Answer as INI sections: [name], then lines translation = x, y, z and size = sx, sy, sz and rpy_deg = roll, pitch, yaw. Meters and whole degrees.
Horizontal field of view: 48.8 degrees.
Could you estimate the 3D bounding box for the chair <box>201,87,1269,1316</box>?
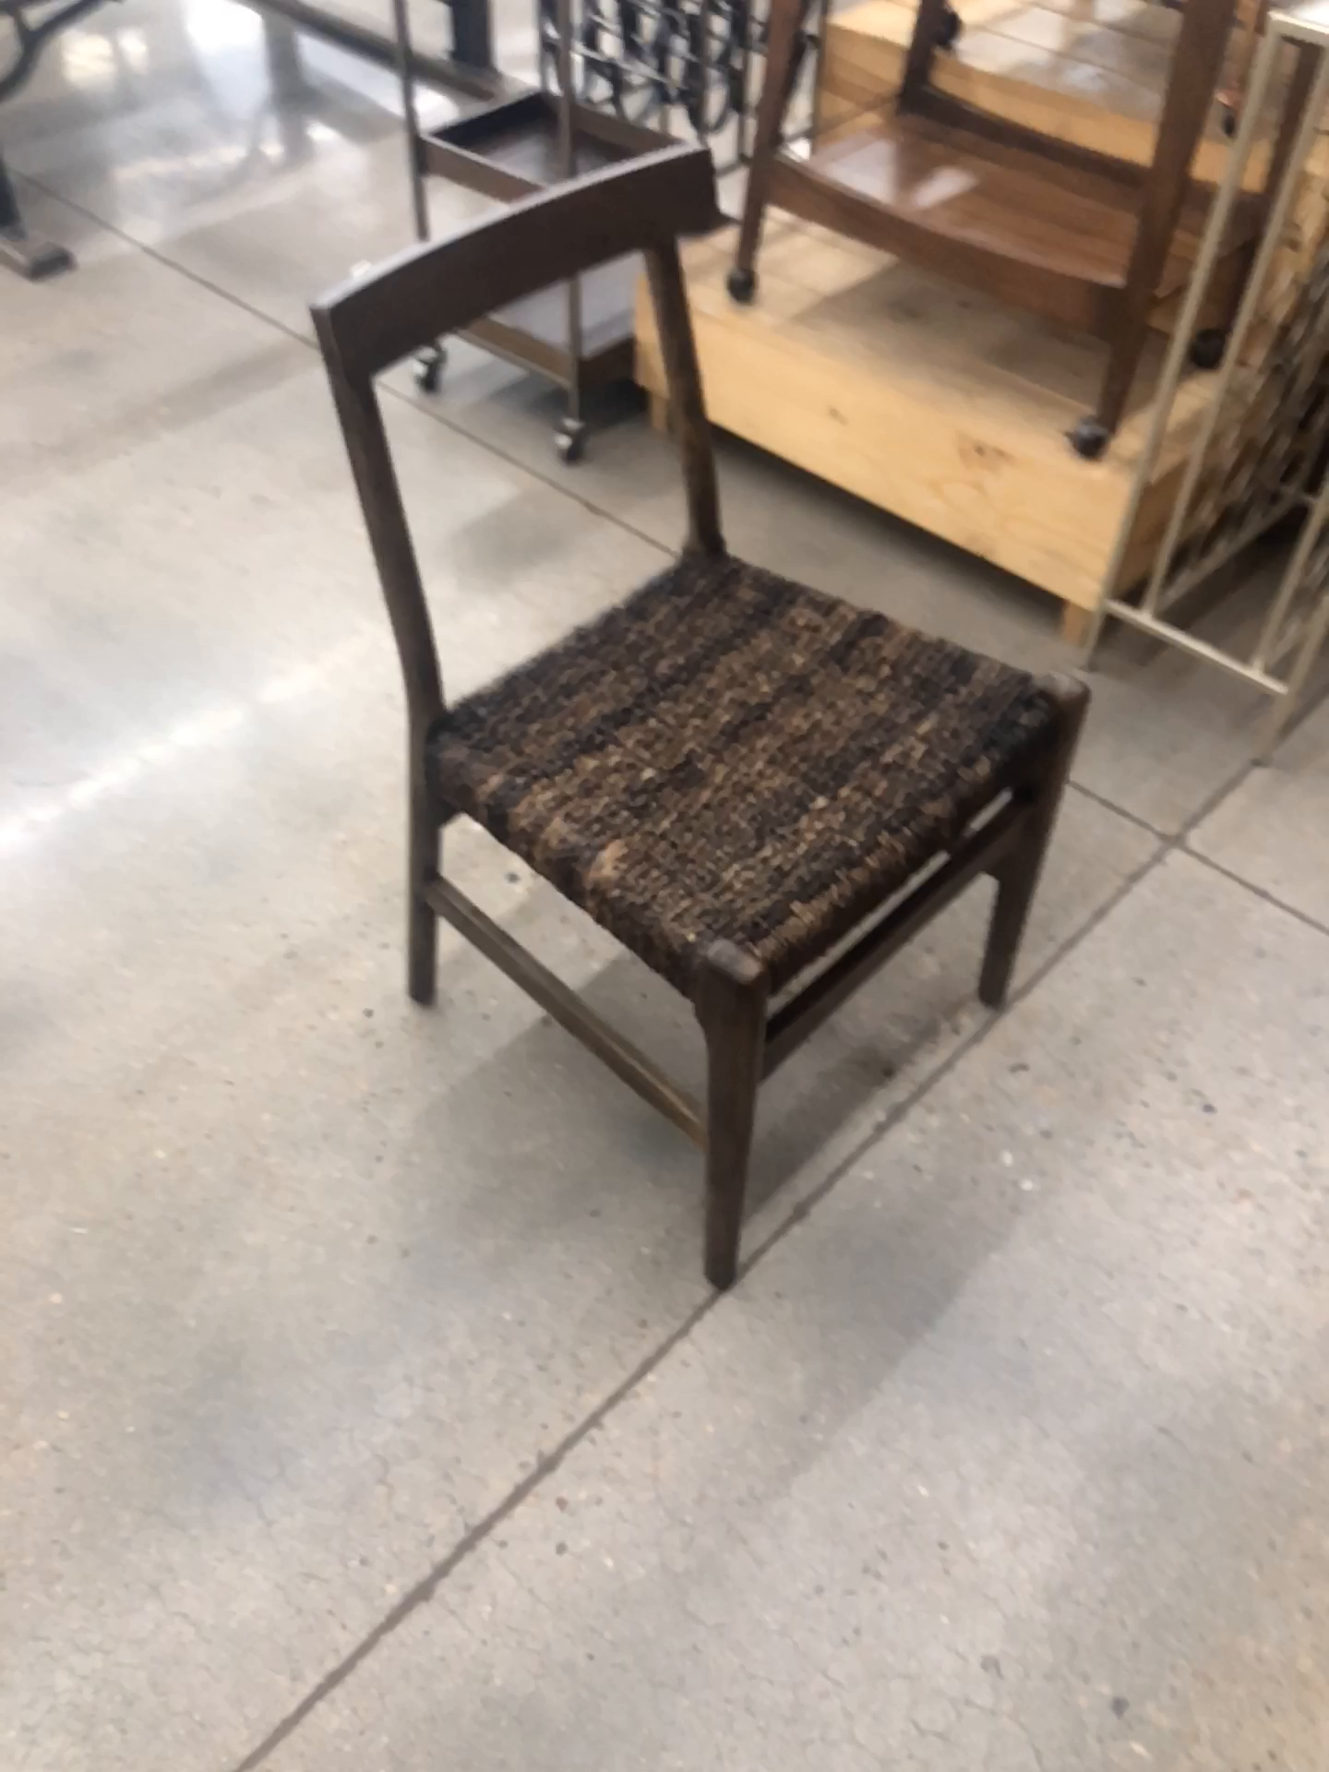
[chair]
translation = 0.047, -0.152, 1.345
size = 0.533, 0.816, 0.550
rpy_deg = 35, 55, 26
